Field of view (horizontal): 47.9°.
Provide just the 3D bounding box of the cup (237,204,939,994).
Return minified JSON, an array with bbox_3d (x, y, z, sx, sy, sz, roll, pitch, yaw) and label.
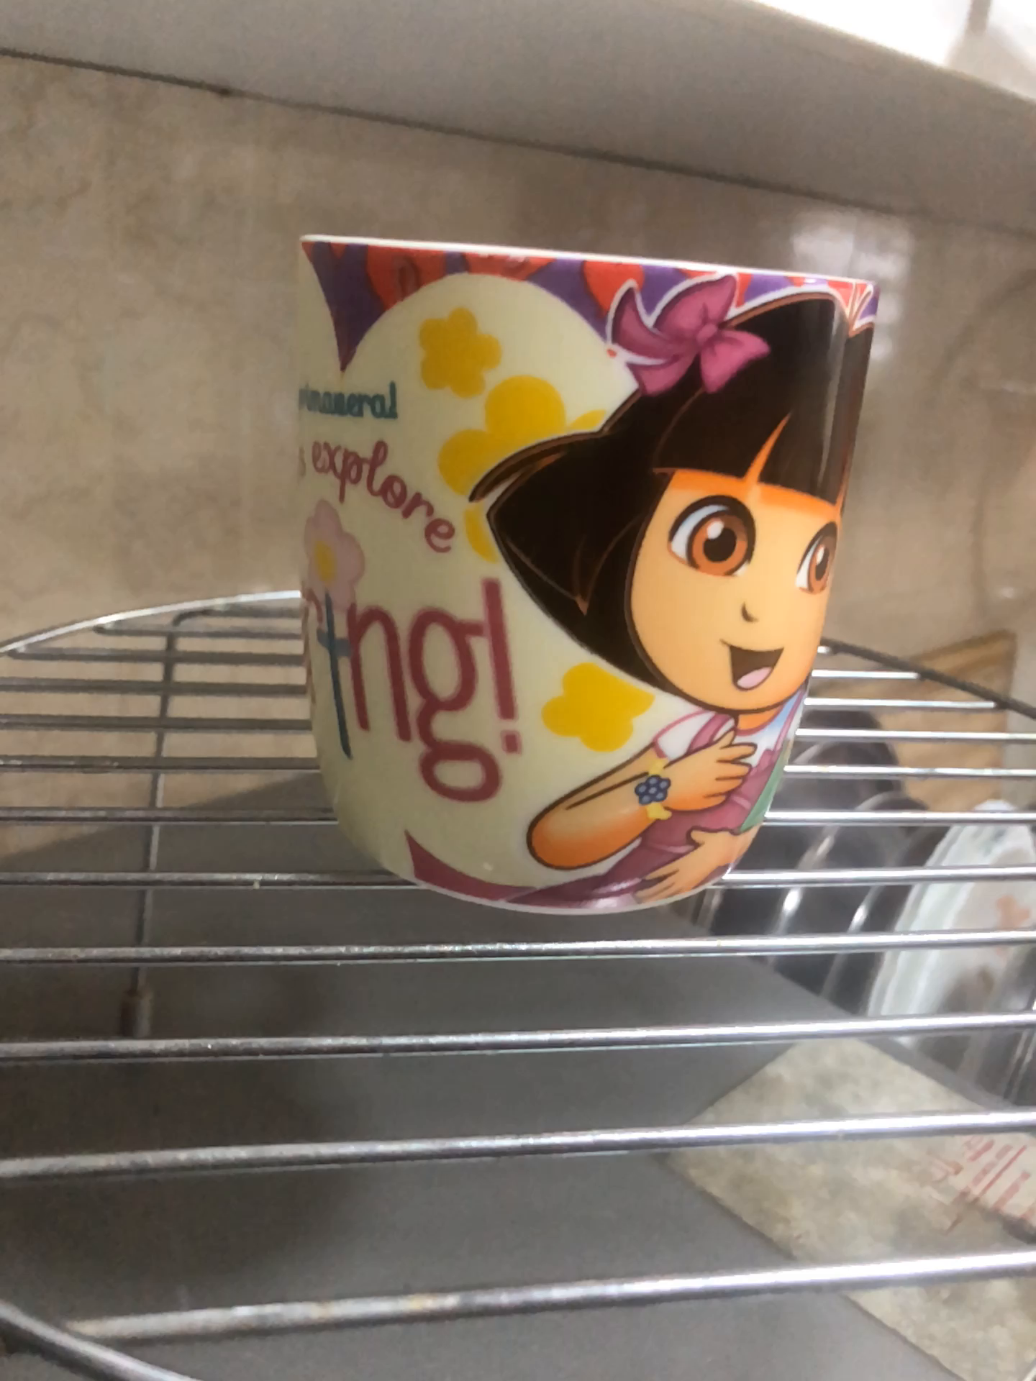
[{"bbox_3d":[0.019,-0.027,0.200,0.070,0.090,0.121,14,21,23],"label":"cup"}]
